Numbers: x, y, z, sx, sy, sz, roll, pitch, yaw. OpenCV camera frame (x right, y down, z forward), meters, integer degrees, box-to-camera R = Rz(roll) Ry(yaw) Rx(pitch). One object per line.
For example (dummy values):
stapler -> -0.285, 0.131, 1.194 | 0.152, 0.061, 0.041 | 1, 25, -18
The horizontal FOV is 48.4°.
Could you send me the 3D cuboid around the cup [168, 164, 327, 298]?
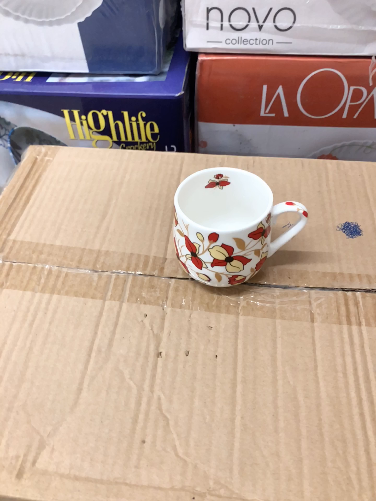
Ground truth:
cup -> 0.038, -0.014, 0.281 | 0.090, 0.060, 0.060 | 4, 48, 6
